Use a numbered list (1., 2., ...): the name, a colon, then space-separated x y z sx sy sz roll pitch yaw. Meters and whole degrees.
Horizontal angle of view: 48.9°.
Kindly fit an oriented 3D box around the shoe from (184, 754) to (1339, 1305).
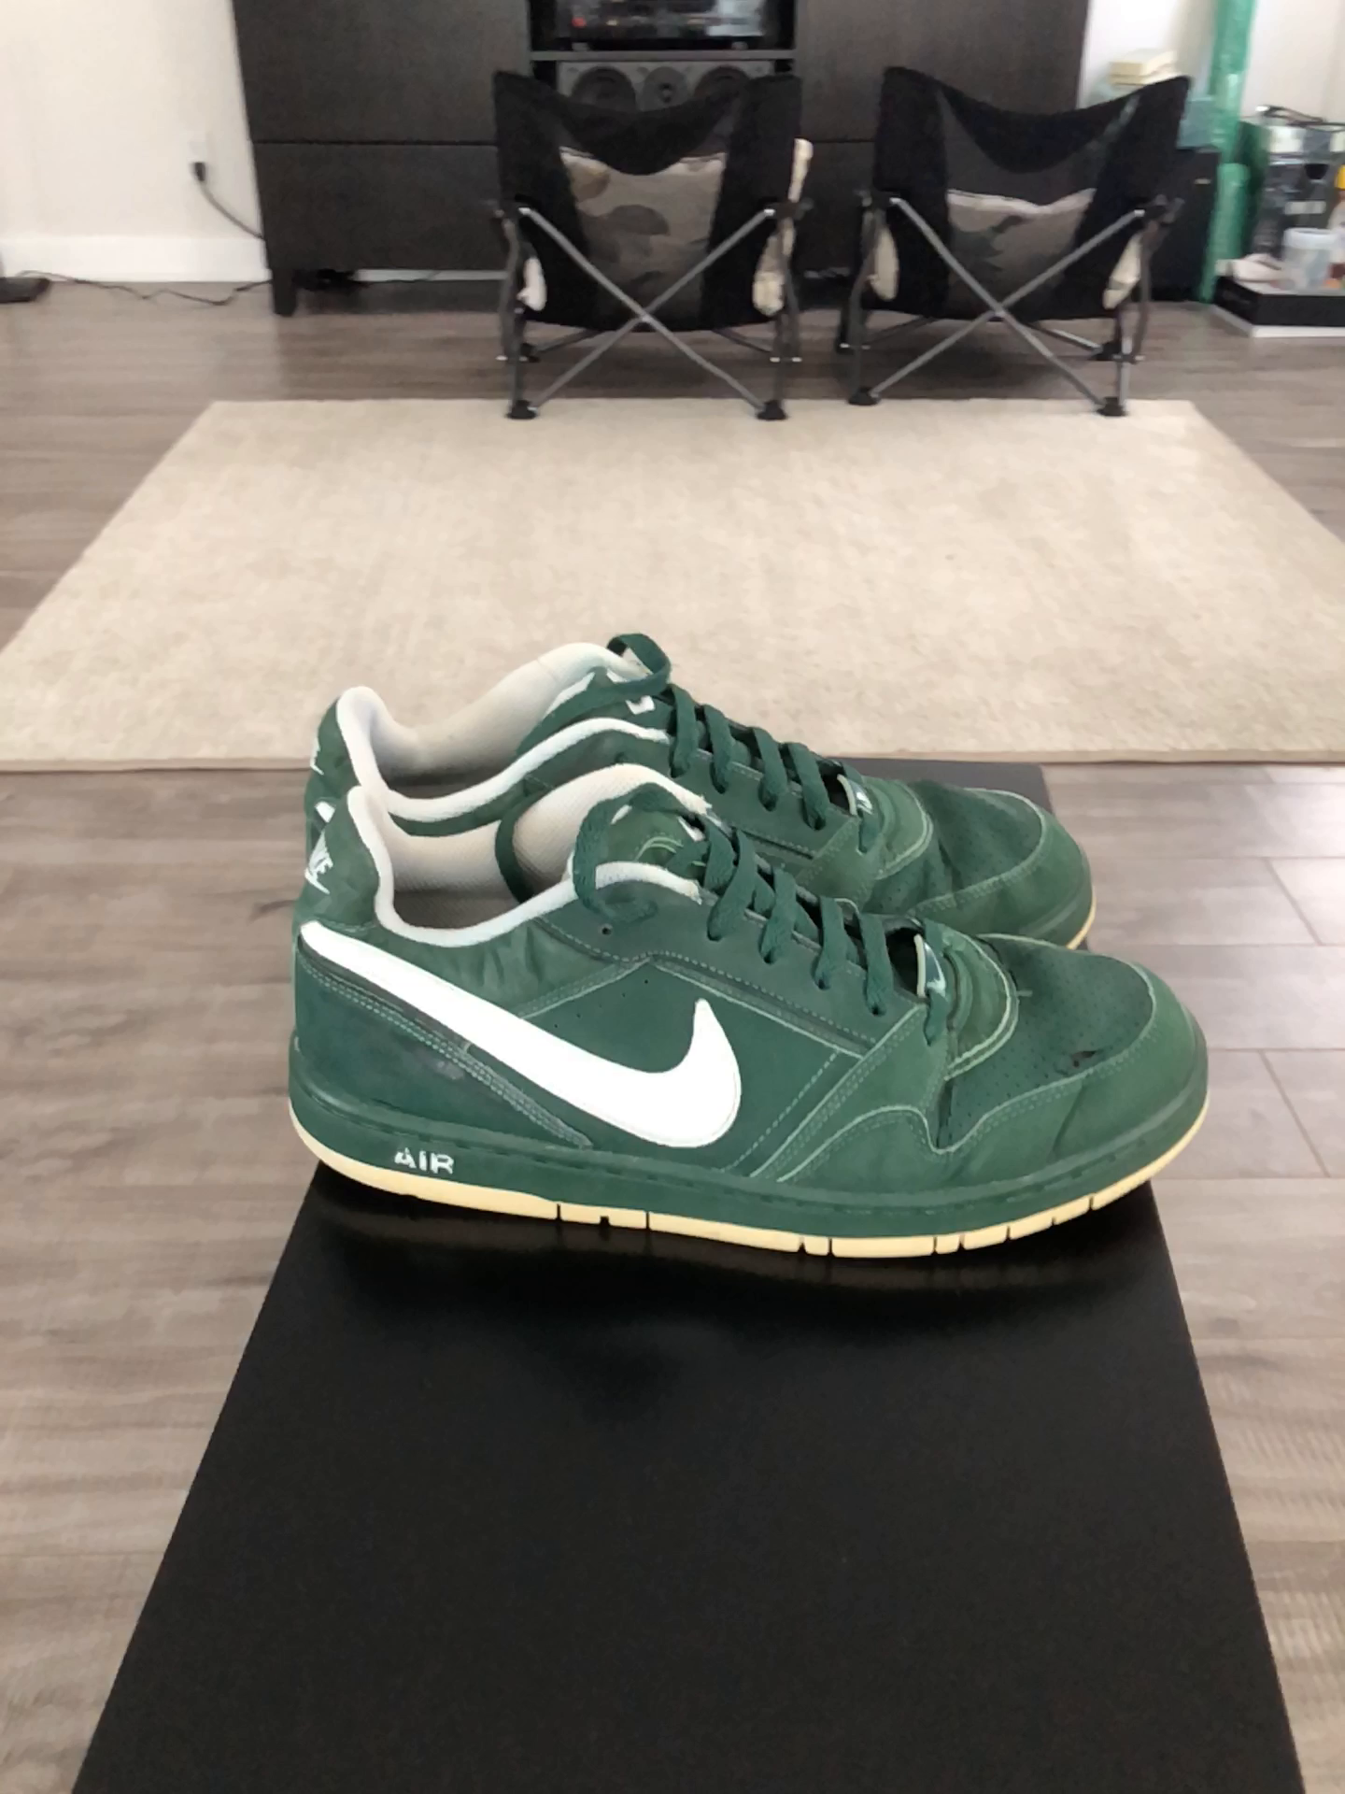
1. shoe: 0.021 0.036 0.442 0.292 0.100 0.100 5 33 1

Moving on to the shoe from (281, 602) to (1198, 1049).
1. shoe: 0.019 -0.028 0.525 0.280 0.100 0.110 3 33 -1
